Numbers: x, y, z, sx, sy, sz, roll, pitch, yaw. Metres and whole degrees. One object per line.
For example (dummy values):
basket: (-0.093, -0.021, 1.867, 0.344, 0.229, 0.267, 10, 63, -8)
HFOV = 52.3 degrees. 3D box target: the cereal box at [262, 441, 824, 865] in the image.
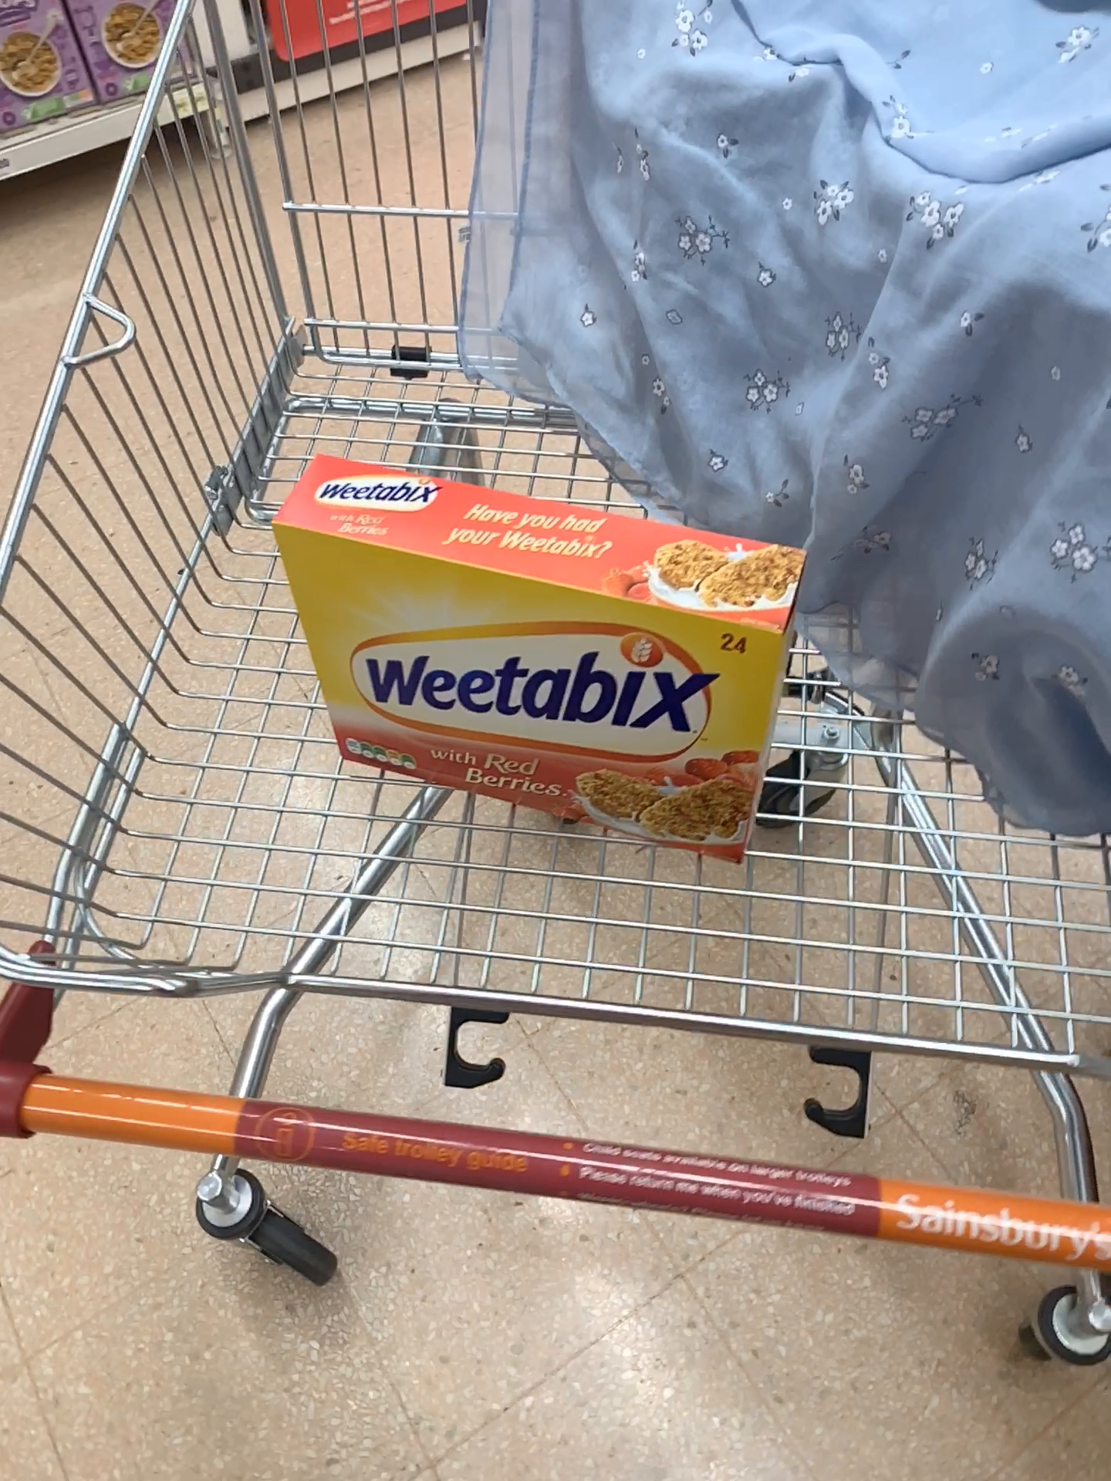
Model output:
cereal box: (-0.008, -0.041, 0.610, 0.260, 0.188, 0.060, 14, 54, 11)
